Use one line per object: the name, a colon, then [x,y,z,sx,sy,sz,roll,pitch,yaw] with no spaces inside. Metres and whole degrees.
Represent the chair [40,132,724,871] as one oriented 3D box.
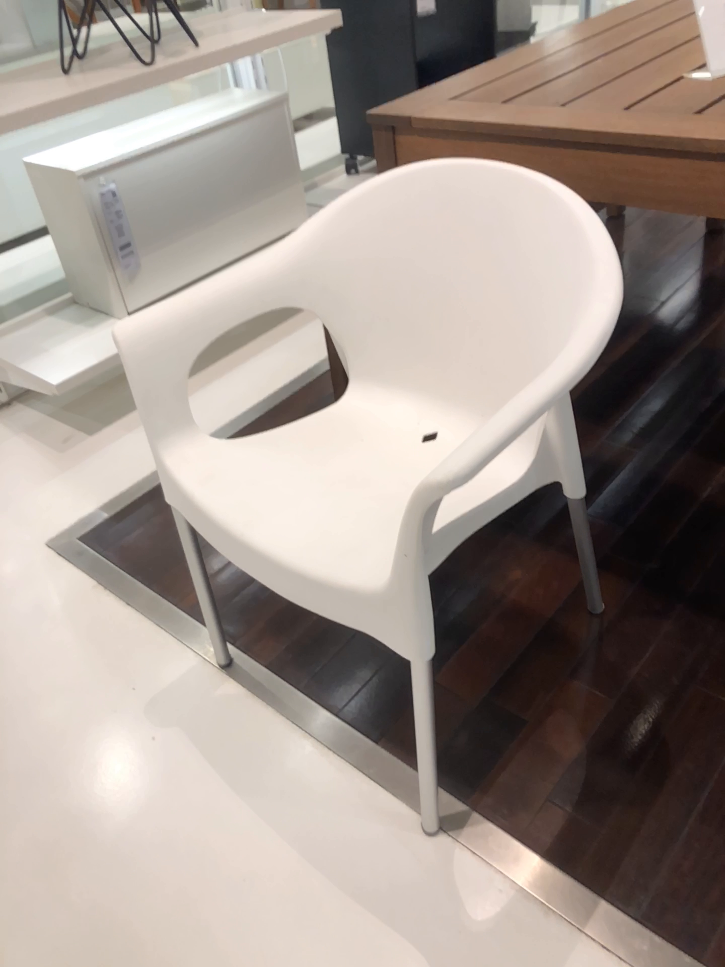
chair: [0.063,-0.028,1.134,0.582,0.704,0.562,25,49,37]
